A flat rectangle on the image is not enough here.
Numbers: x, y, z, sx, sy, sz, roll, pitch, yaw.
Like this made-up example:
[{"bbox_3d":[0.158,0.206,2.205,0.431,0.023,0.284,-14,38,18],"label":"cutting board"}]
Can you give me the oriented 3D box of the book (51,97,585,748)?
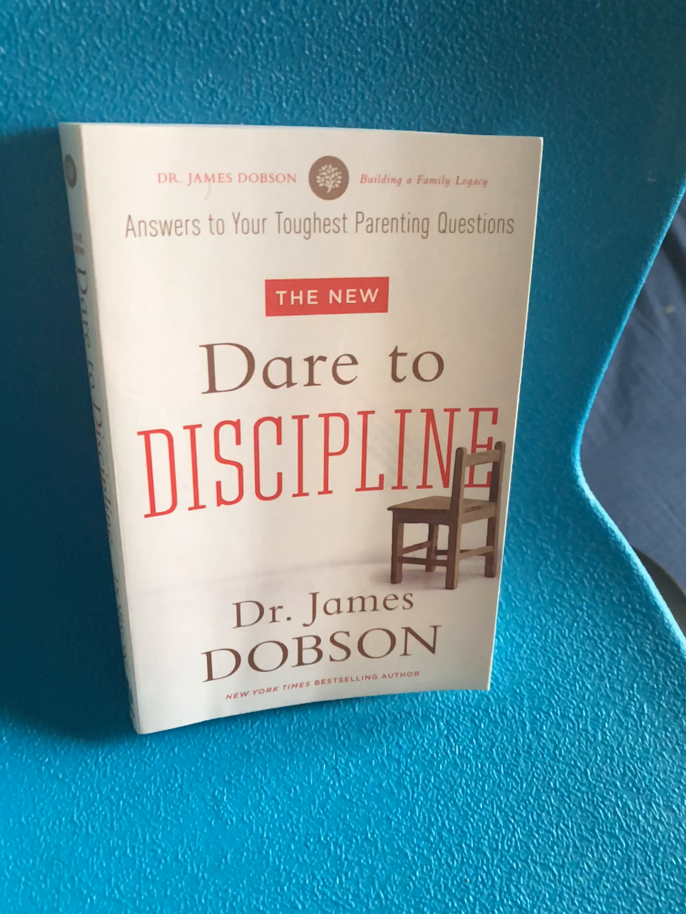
[{"bbox_3d":[-0.006,-0.008,0.259,0.150,0.199,0.040,-4,19,-12],"label":"book"}]
